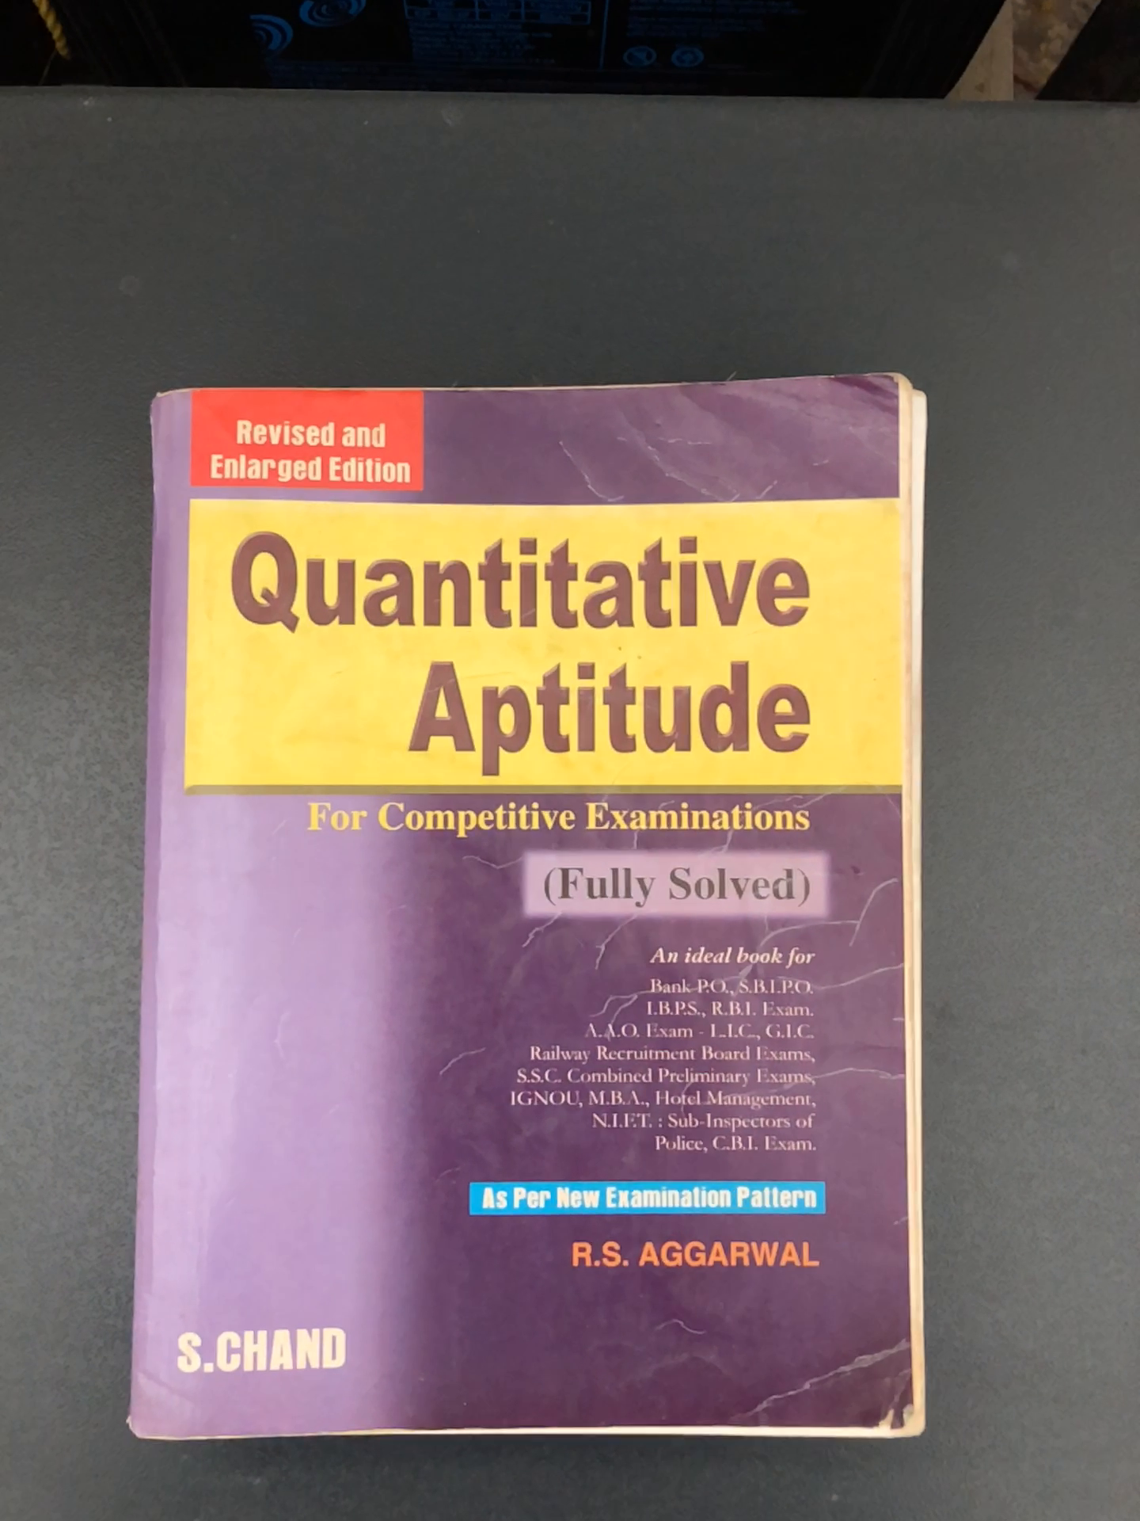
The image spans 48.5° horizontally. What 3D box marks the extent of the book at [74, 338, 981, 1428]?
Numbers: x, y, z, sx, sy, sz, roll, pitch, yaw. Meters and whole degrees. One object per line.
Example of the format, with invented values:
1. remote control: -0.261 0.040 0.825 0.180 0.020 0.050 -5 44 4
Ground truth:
1. book: -0.007 0.024 0.284 0.180 0.050 0.220 1 86 -1
